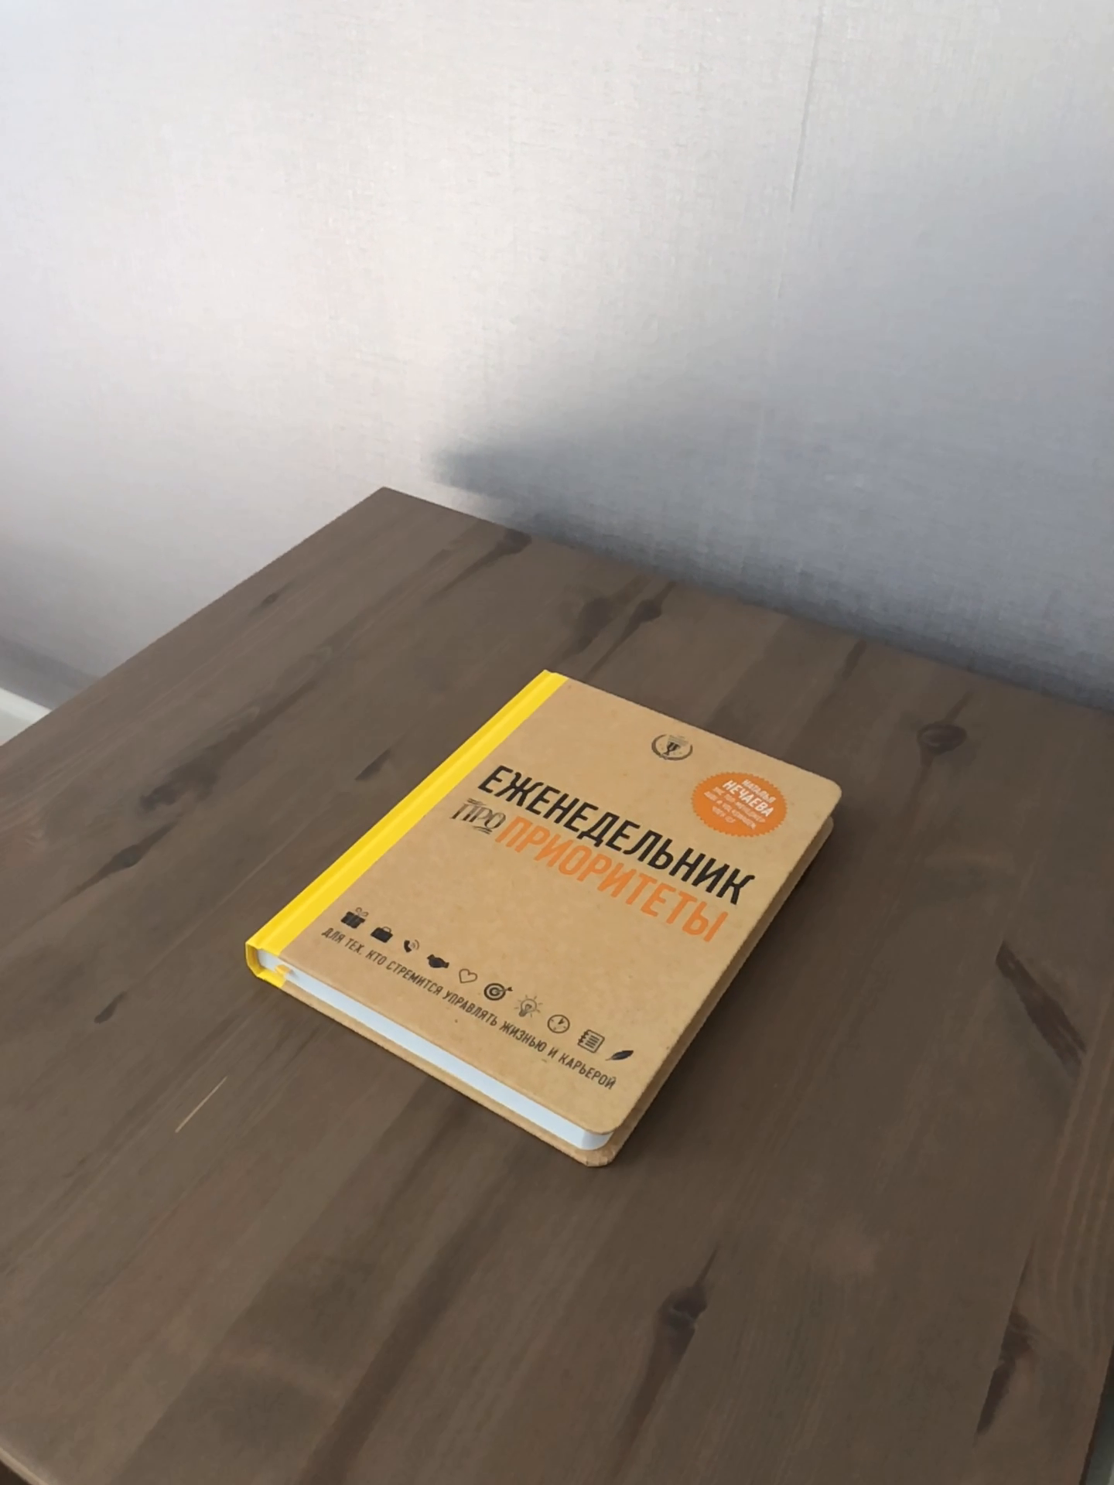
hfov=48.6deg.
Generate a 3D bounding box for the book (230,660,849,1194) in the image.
[{"bbox_3d":[0.002,0.062,0.559,0.180,0.032,0.230,23,44,23],"label":"book"}]
